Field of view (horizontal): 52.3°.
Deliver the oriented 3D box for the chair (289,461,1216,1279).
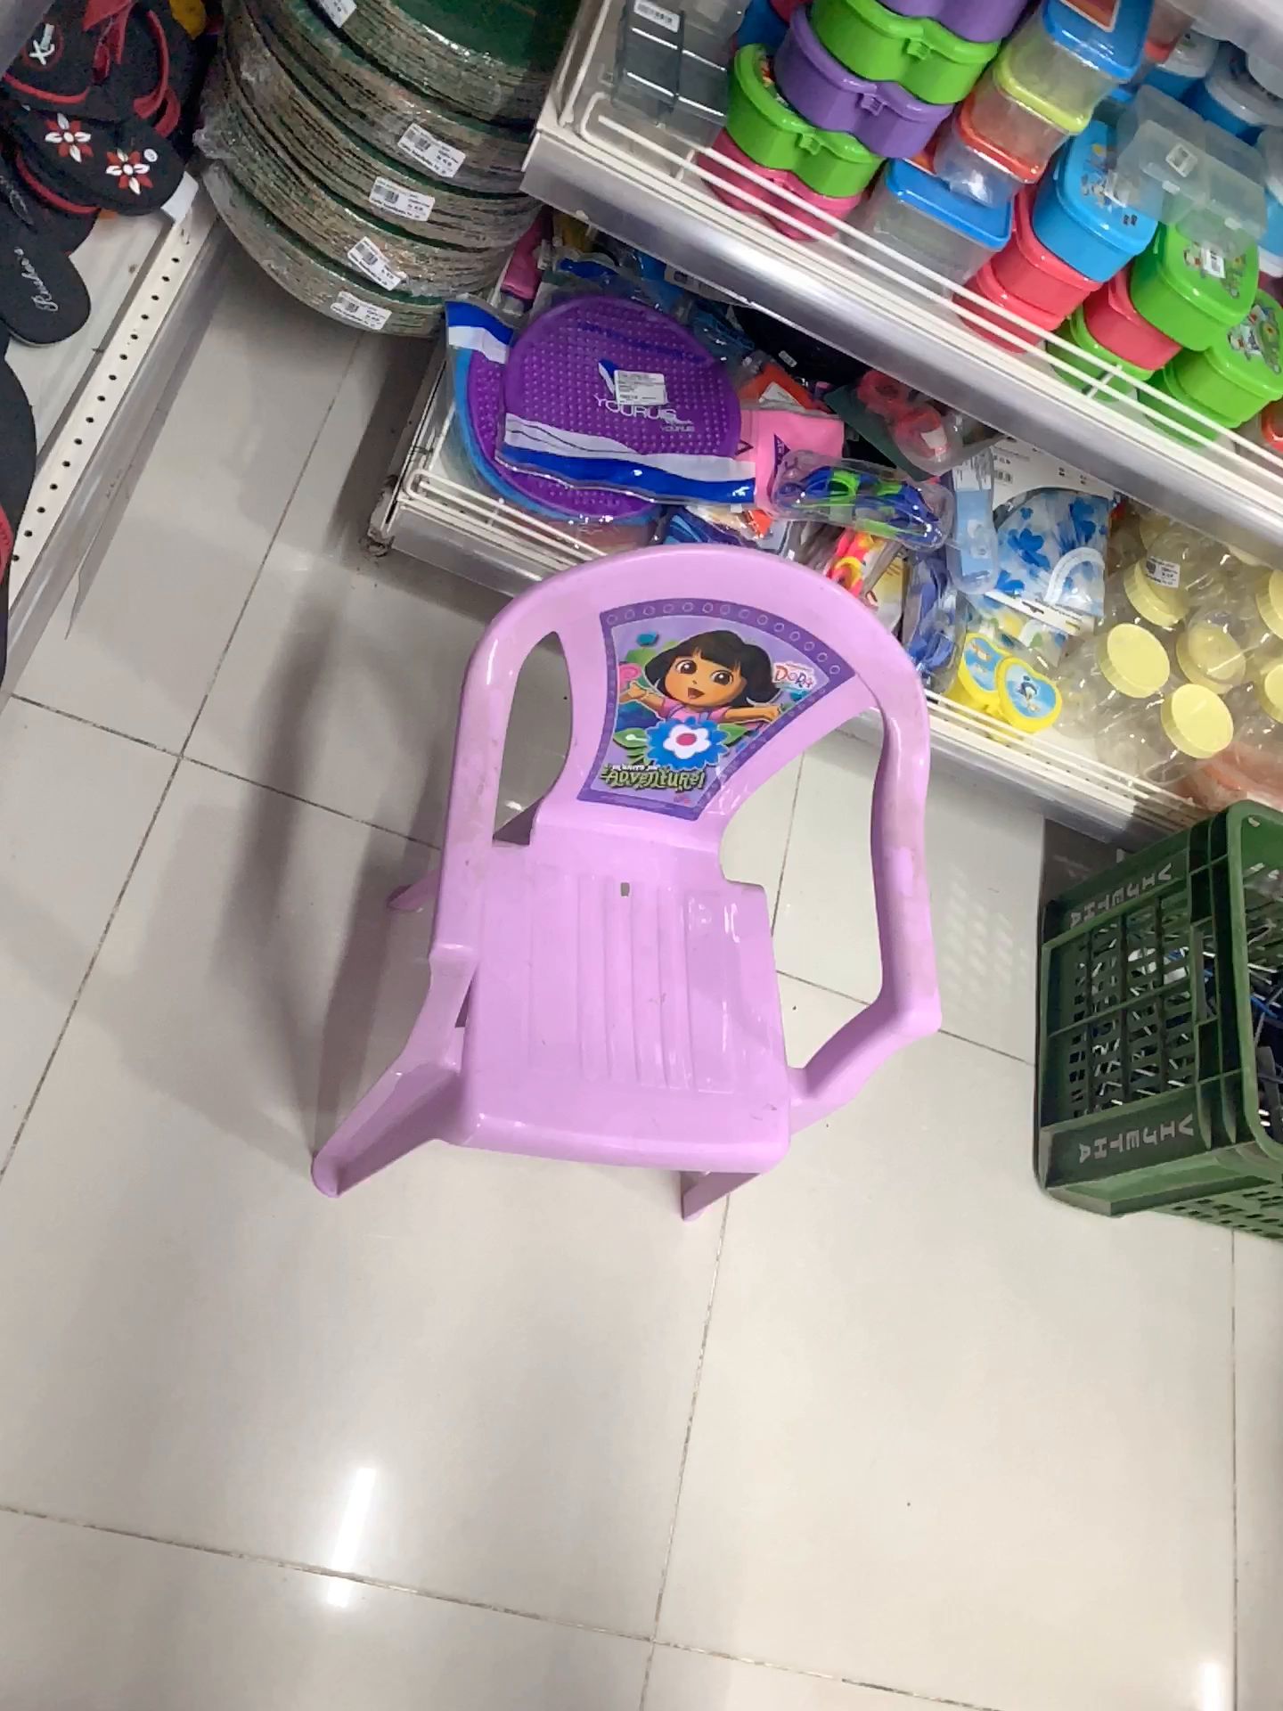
[{"bbox_3d":[0.028,0.067,0.844,0.401,0.429,0.340,10,65,-20],"label":"chair"}]
